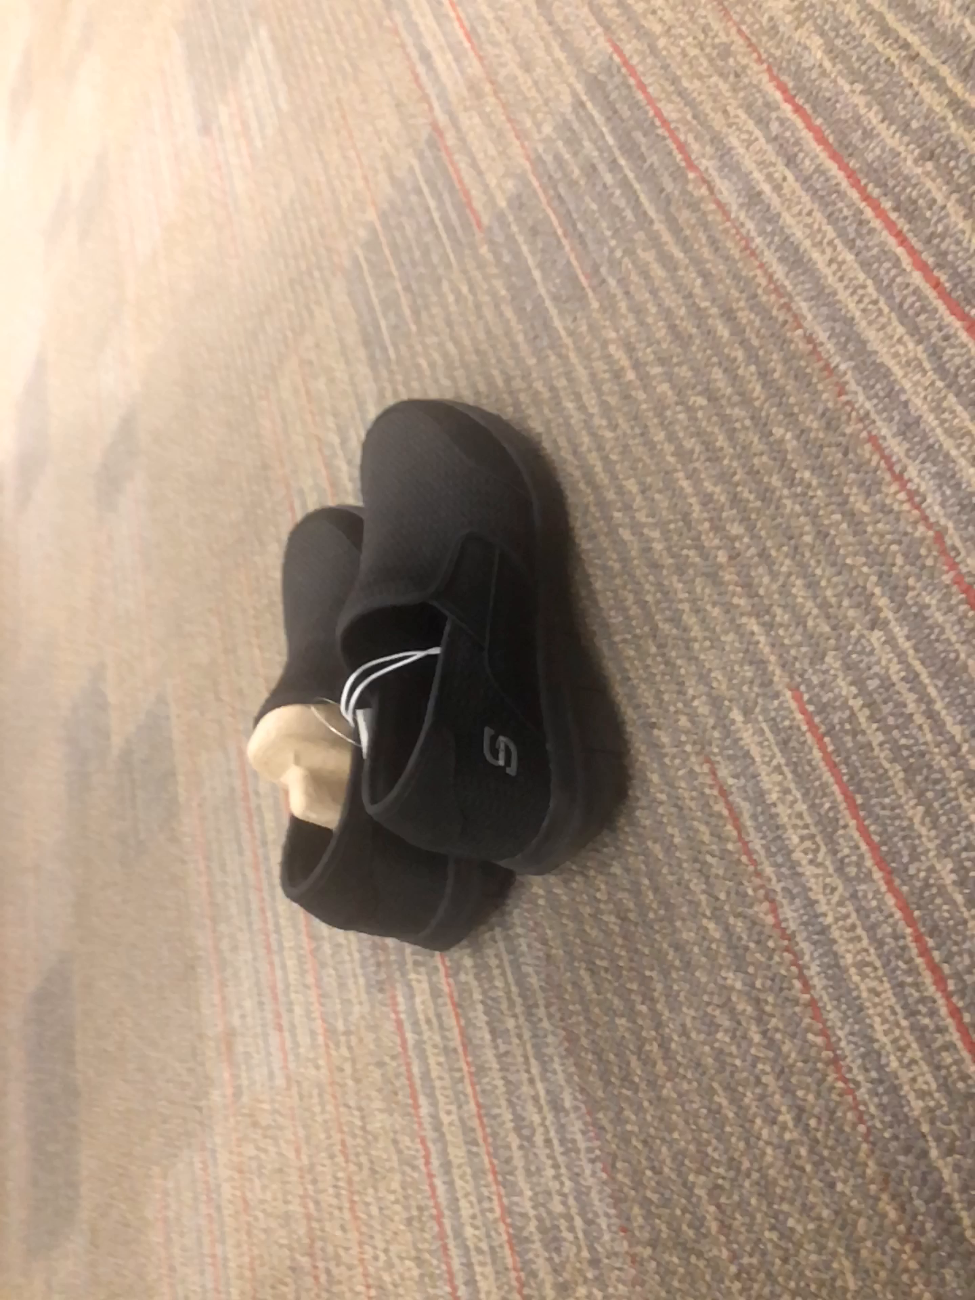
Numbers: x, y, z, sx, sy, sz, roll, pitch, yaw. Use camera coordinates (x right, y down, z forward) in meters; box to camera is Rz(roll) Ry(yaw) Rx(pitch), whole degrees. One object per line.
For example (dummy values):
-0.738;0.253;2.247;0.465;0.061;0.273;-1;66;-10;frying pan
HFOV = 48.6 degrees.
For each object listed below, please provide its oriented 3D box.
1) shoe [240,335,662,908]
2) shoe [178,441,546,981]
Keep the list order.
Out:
-0.032;-0.014;0.539;0.121;0.109;0.248;-45;48;36;shoe
-0.080;0.030;0.583;0.117;0.105;0.258;-47;47;35;shoe
